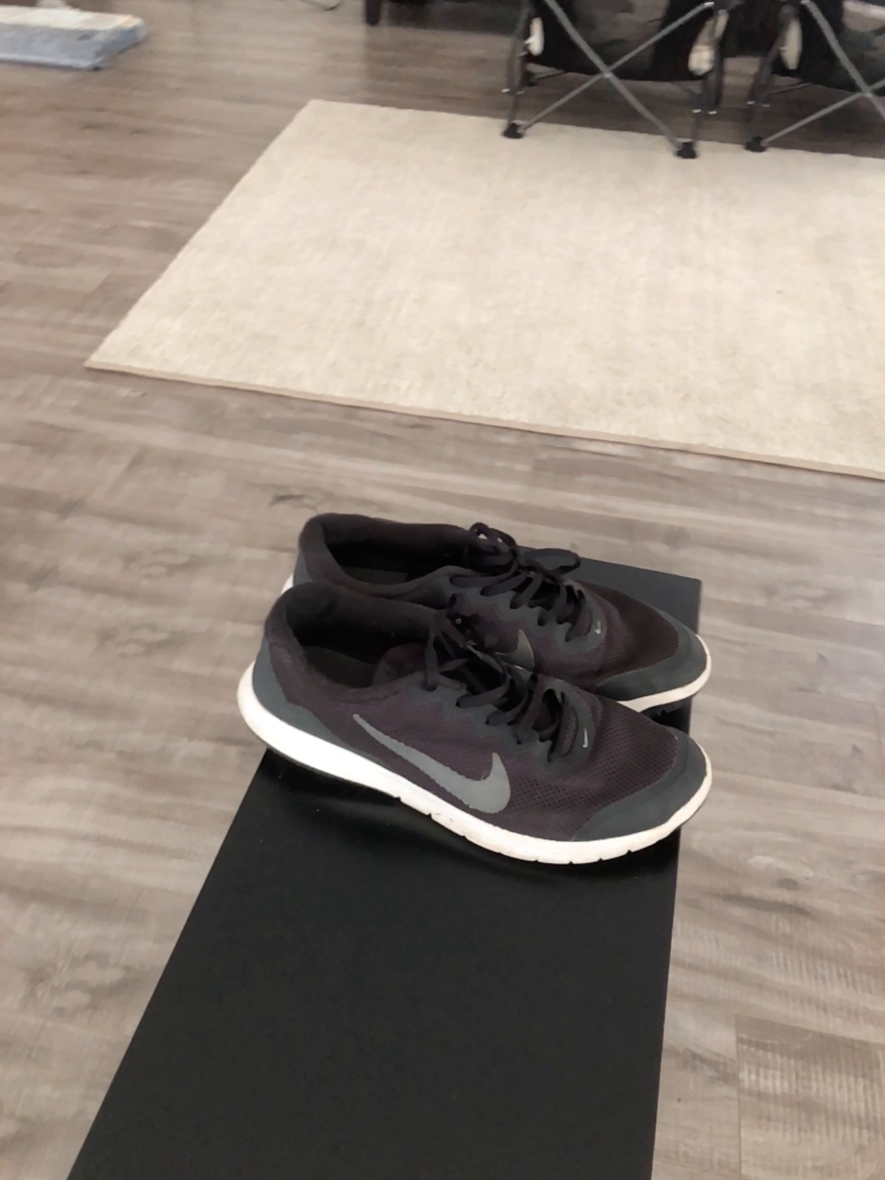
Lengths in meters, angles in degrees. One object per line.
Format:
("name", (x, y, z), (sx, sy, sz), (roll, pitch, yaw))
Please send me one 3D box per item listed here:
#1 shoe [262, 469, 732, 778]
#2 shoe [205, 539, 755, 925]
("shoe", (0.036, 0.020, 0.648), (0.280, 0.110, 0.110), (11, 45, 6))
("shoe", (0.021, 0.077, 0.562), (0.280, 0.100, 0.110), (15, 46, 8))
